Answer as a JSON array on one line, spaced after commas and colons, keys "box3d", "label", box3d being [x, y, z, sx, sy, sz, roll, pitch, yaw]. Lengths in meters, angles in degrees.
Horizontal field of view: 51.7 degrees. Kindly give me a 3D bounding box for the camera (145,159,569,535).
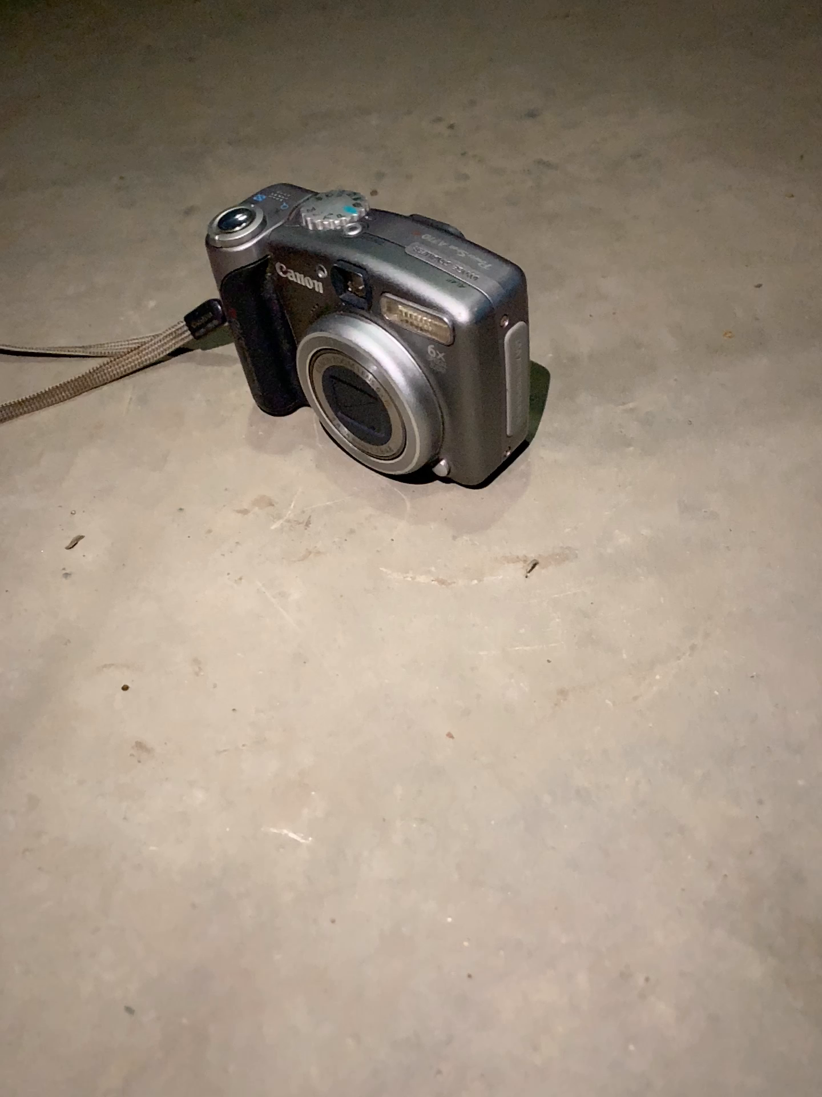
[{"box3d": [-0.016, -0.062, 0.246, 0.109, 0.060, 0.048, 30, 57, 28], "label": "camera"}]
